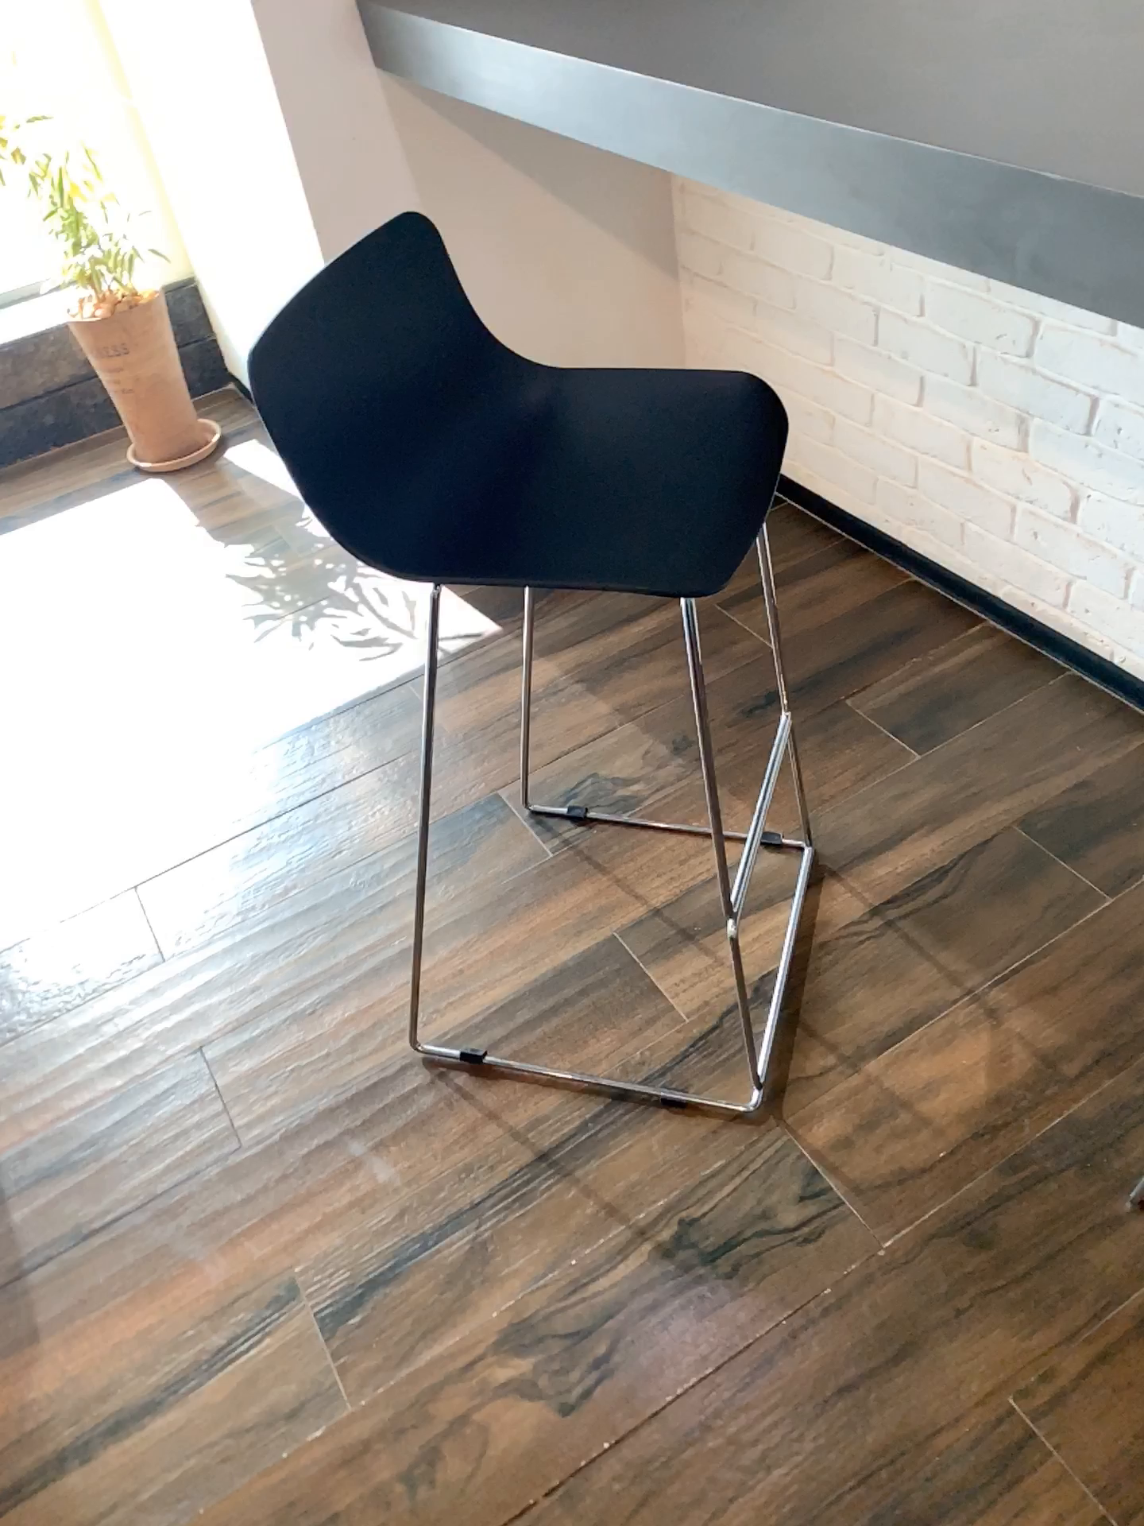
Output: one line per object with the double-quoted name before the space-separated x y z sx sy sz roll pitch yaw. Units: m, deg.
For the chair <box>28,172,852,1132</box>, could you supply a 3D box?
"chair" -0.023 -0.103 1.324 0.591 0.862 0.544 6 45 18
